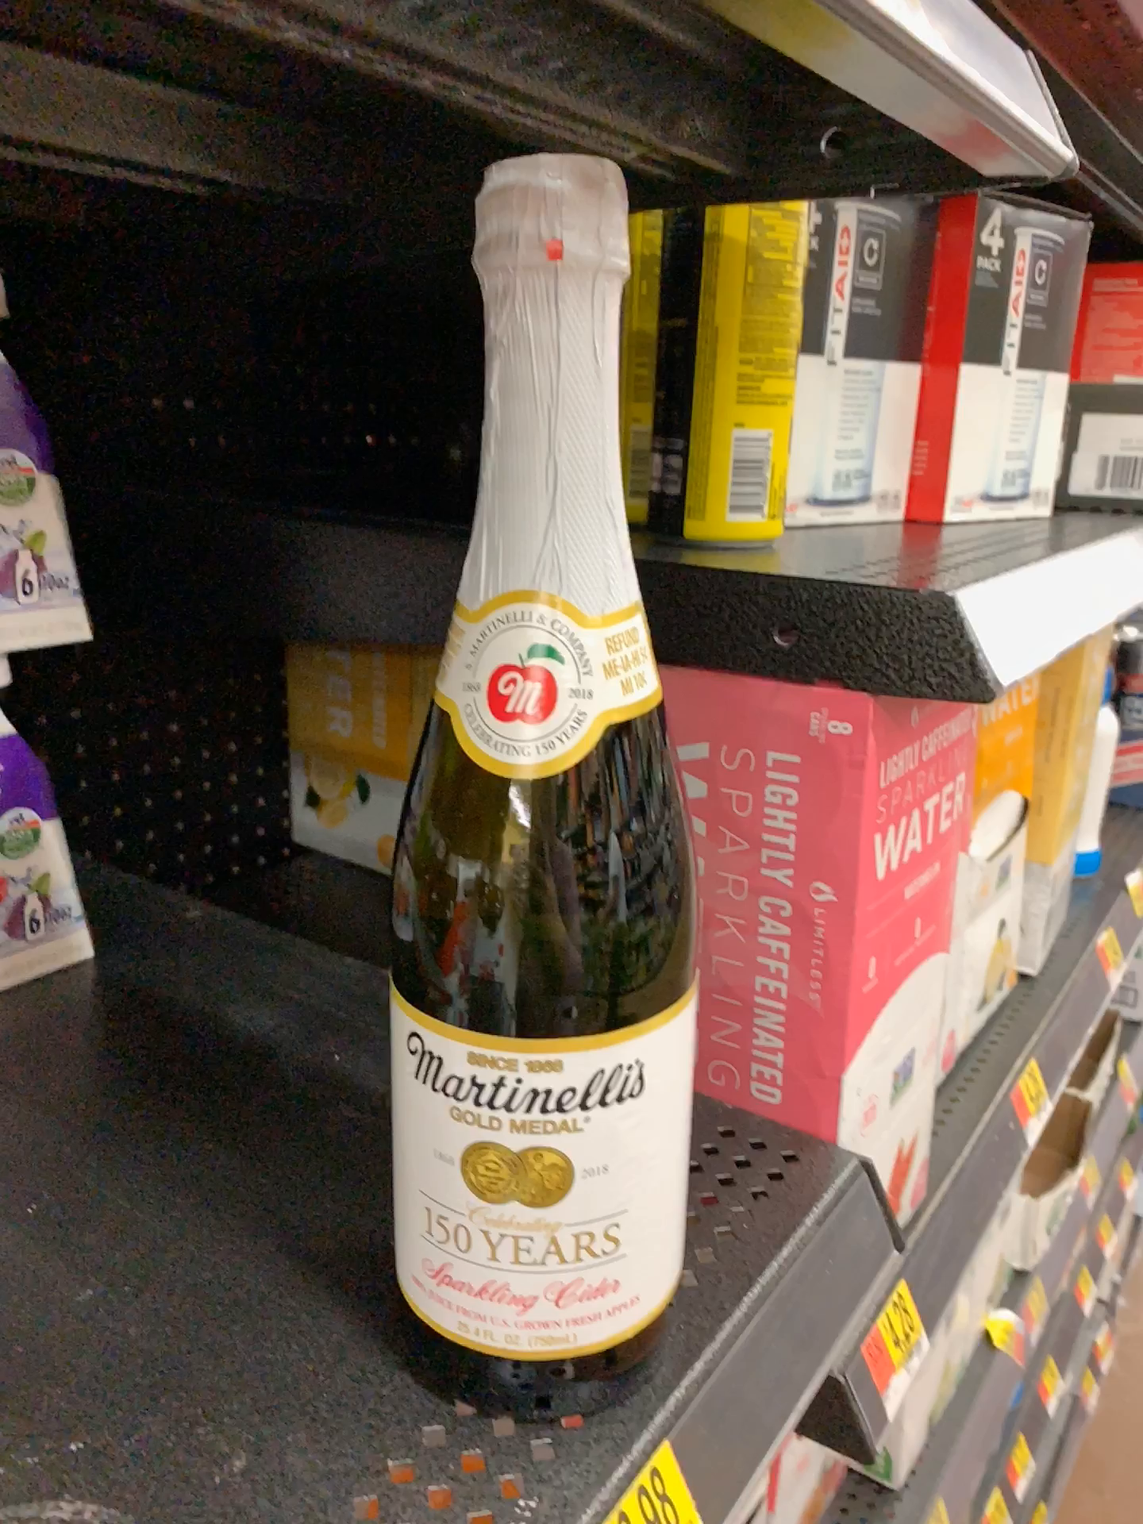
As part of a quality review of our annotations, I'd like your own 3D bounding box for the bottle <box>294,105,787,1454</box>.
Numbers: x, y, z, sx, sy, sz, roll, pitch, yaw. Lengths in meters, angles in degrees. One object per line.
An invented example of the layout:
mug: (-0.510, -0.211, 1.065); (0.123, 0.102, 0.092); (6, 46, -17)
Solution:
bottle: (-0.007, 0.011, 0.300); (0.089, 0.299, 0.090); (3, 17, -1)
